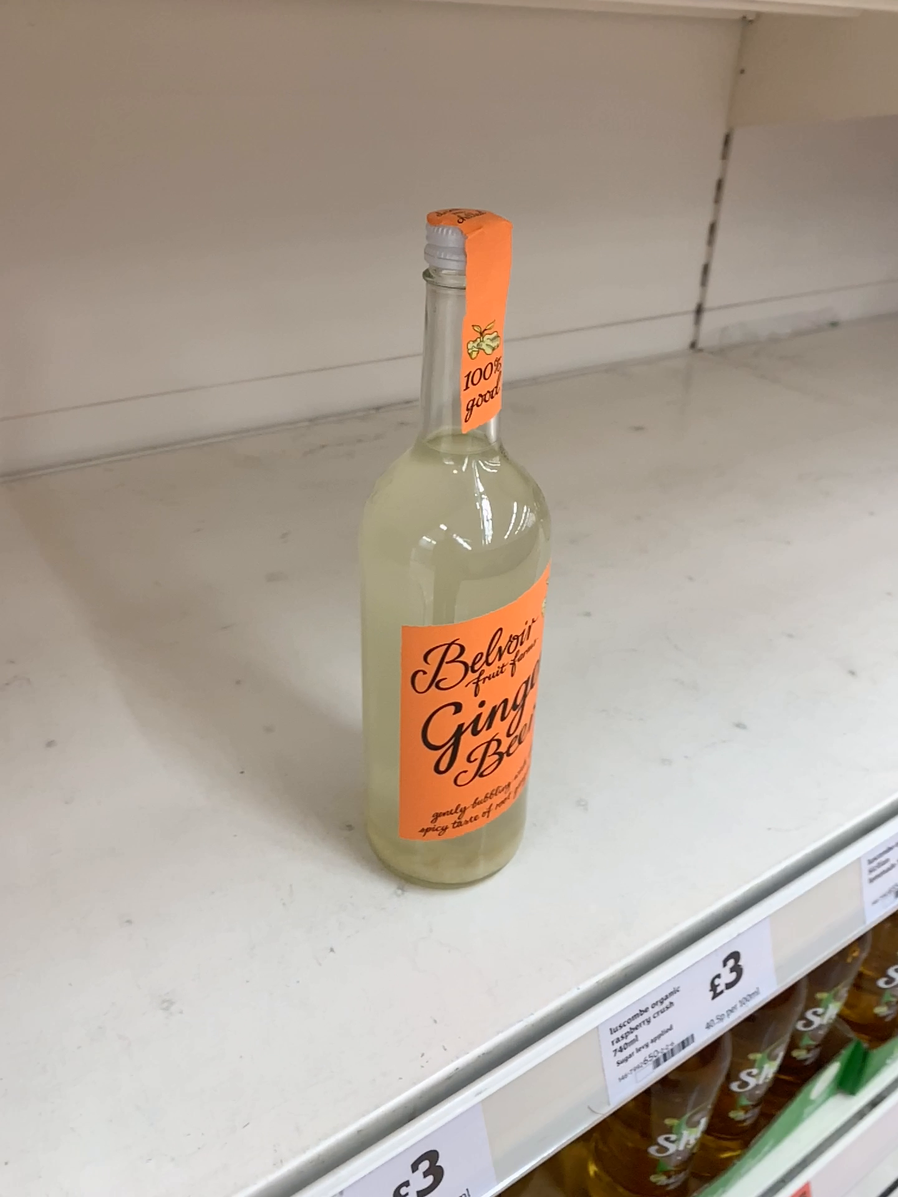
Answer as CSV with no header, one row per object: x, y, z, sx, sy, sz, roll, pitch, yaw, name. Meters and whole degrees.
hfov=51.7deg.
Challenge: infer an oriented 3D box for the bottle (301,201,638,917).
0.000,-0.010,0.389,0.084,0.277,0.091,2,30,-1,bottle
